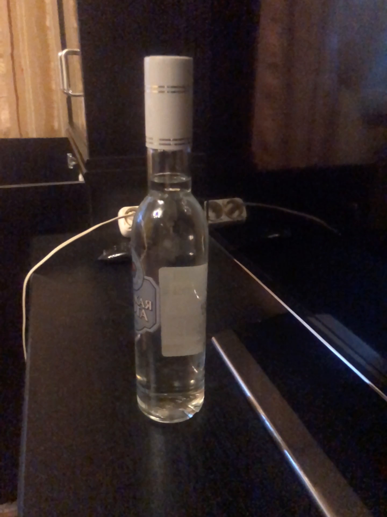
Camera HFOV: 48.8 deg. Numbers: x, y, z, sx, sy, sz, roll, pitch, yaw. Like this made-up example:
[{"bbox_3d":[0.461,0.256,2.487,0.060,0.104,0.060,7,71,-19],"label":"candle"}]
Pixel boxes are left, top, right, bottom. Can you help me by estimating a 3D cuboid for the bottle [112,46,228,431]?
[{"bbox_3d":[-0.020,-0.005,0.342,0.067,0.290,0.065,1,21,0],"label":"bottle"}]
